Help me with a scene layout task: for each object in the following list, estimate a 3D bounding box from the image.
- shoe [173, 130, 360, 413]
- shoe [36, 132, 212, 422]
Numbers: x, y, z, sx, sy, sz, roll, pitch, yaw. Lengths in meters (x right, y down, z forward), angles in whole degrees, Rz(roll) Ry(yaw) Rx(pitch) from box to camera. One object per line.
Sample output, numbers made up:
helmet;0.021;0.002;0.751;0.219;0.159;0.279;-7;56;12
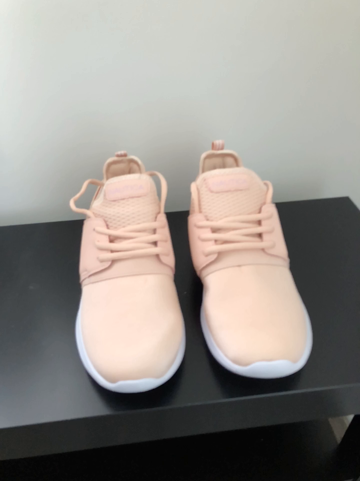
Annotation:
shoe;0.057;0.005;0.352;0.100;0.110;0.241;-5;39;-5
shoe;-0.045;0.008;0.355;0.100;0.110;0.251;-5;39;-5
